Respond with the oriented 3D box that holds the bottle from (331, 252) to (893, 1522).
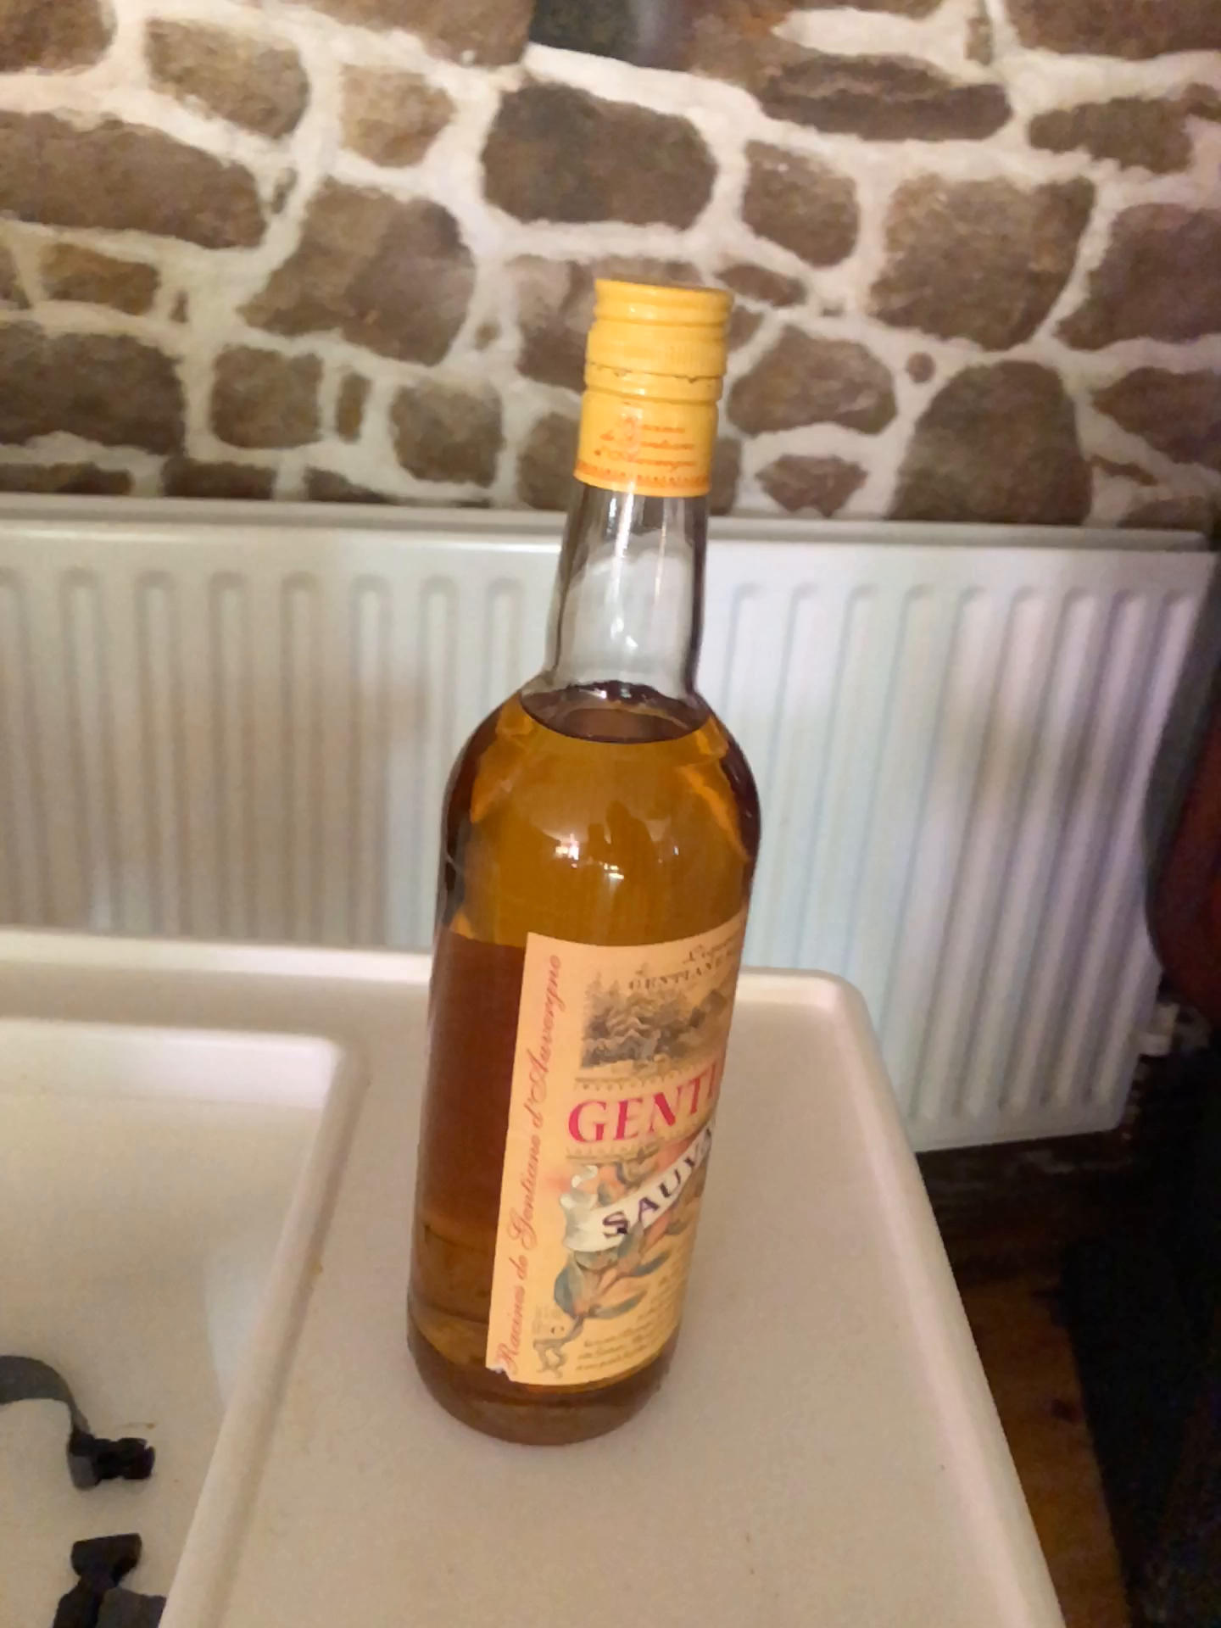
[{"bbox_3d":[-0.009,0.022,0.345,0.080,0.298,0.091,22,29,34],"label":"bottle"}]
